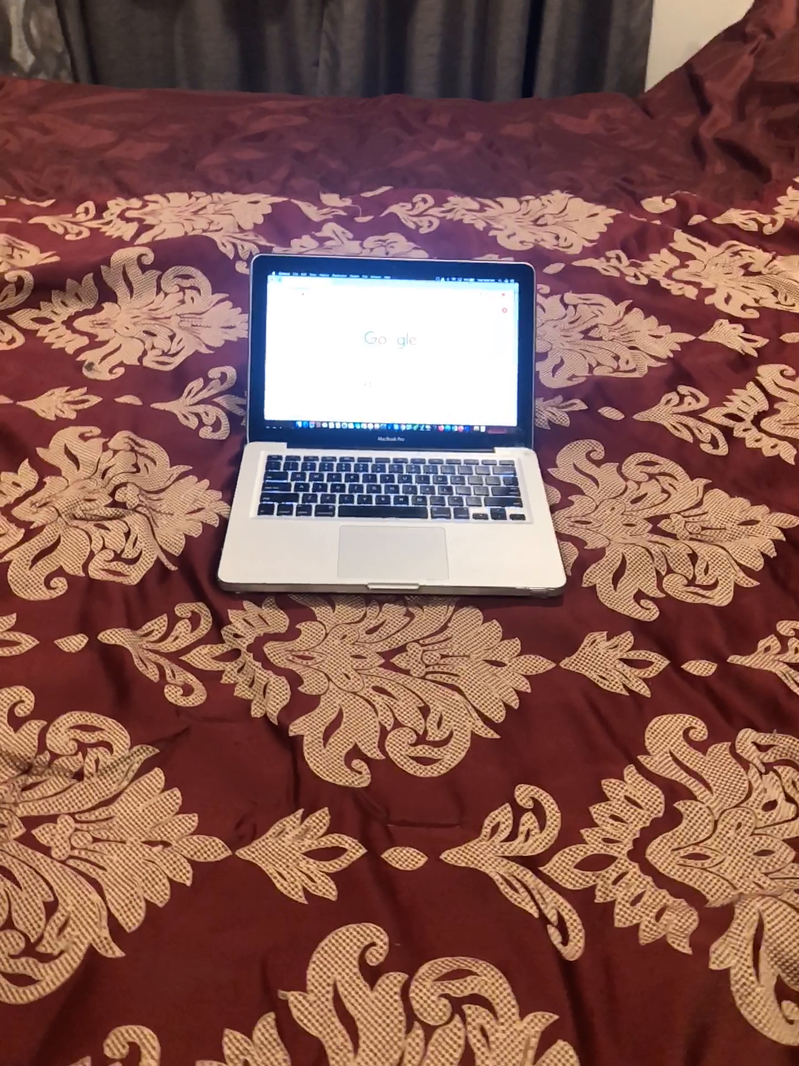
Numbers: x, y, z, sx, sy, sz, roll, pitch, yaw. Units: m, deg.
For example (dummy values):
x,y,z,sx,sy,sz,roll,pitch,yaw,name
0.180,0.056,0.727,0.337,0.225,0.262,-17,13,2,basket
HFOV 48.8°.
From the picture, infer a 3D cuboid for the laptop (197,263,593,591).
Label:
x,y,z,sx,sy,sz,roll,pitch,yaw,name
-0.006,-0.115,0.826,0.292,0.133,0.344,1,40,-2,laptop
